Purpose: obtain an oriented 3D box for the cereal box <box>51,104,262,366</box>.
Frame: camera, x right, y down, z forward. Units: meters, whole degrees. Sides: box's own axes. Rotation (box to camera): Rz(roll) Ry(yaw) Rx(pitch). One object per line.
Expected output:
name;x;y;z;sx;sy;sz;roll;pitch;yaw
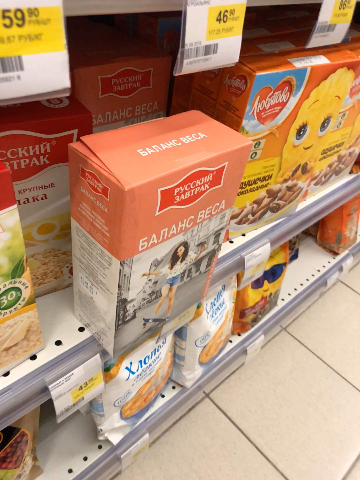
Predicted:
cereal box;-0.024;-0.005;0.342;0.140;0.179;0.070;-28;54;-36
